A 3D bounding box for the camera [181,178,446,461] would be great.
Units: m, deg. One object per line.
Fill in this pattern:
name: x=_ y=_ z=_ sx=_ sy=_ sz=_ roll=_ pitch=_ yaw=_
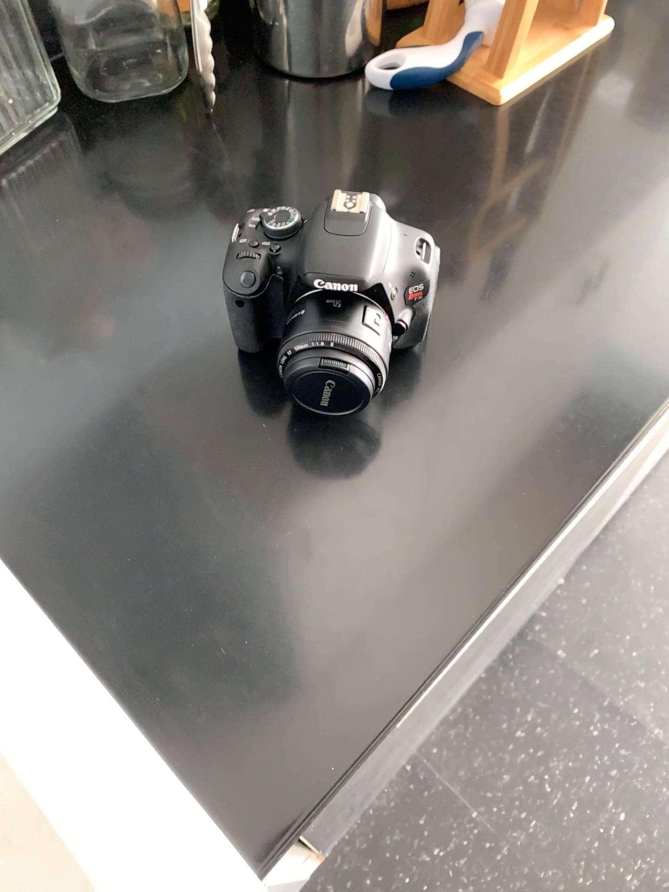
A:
camera: x=-0.006 y=-0.086 z=0.461 sx=0.140 sy=0.100 sz=0.145 roll=7 pitch=58 yaw=6
